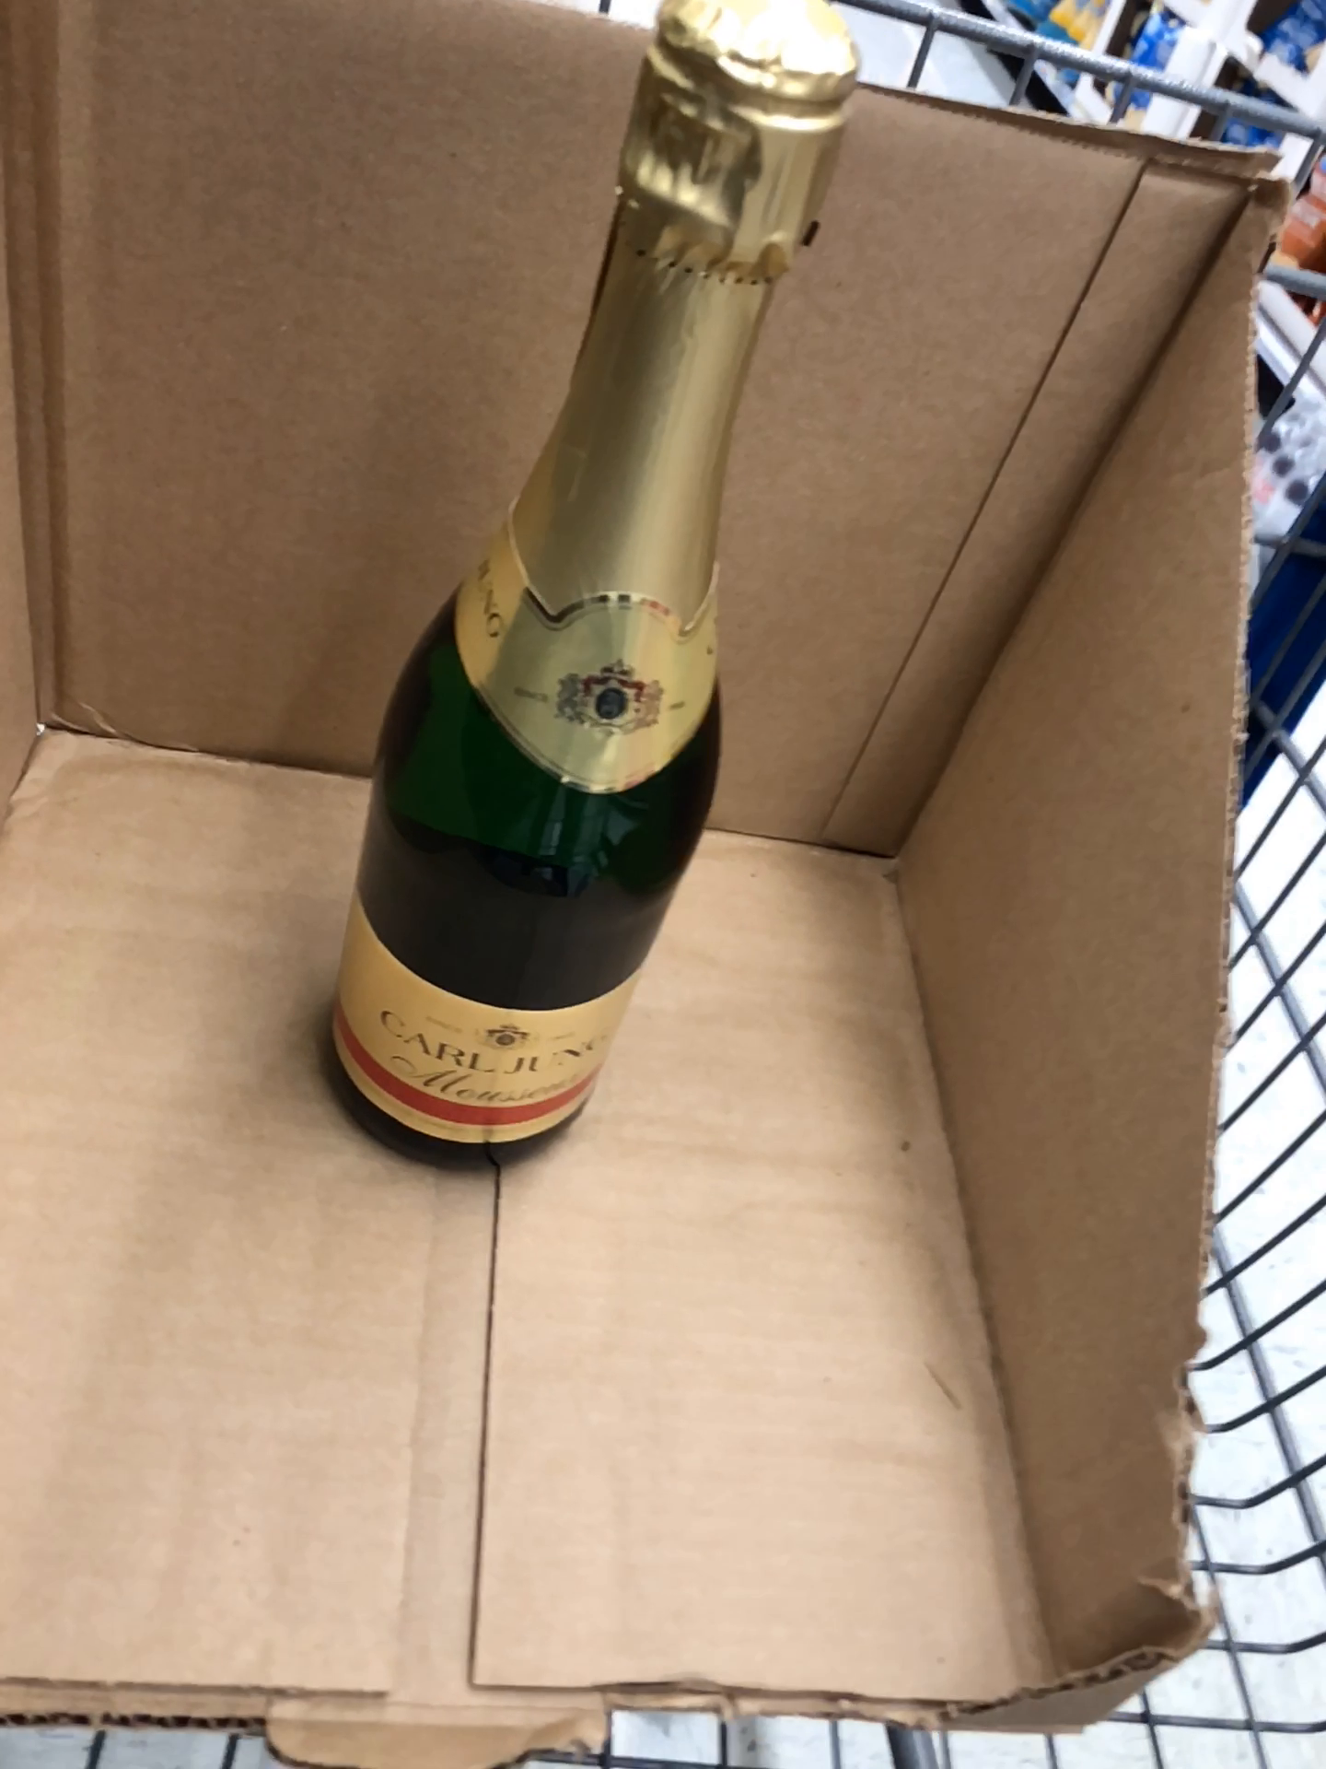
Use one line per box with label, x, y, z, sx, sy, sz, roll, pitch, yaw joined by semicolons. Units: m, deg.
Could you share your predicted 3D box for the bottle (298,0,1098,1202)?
bottle;-0.019;-0.049;0.327;0.090;0.288;0.081;7;42;-13
